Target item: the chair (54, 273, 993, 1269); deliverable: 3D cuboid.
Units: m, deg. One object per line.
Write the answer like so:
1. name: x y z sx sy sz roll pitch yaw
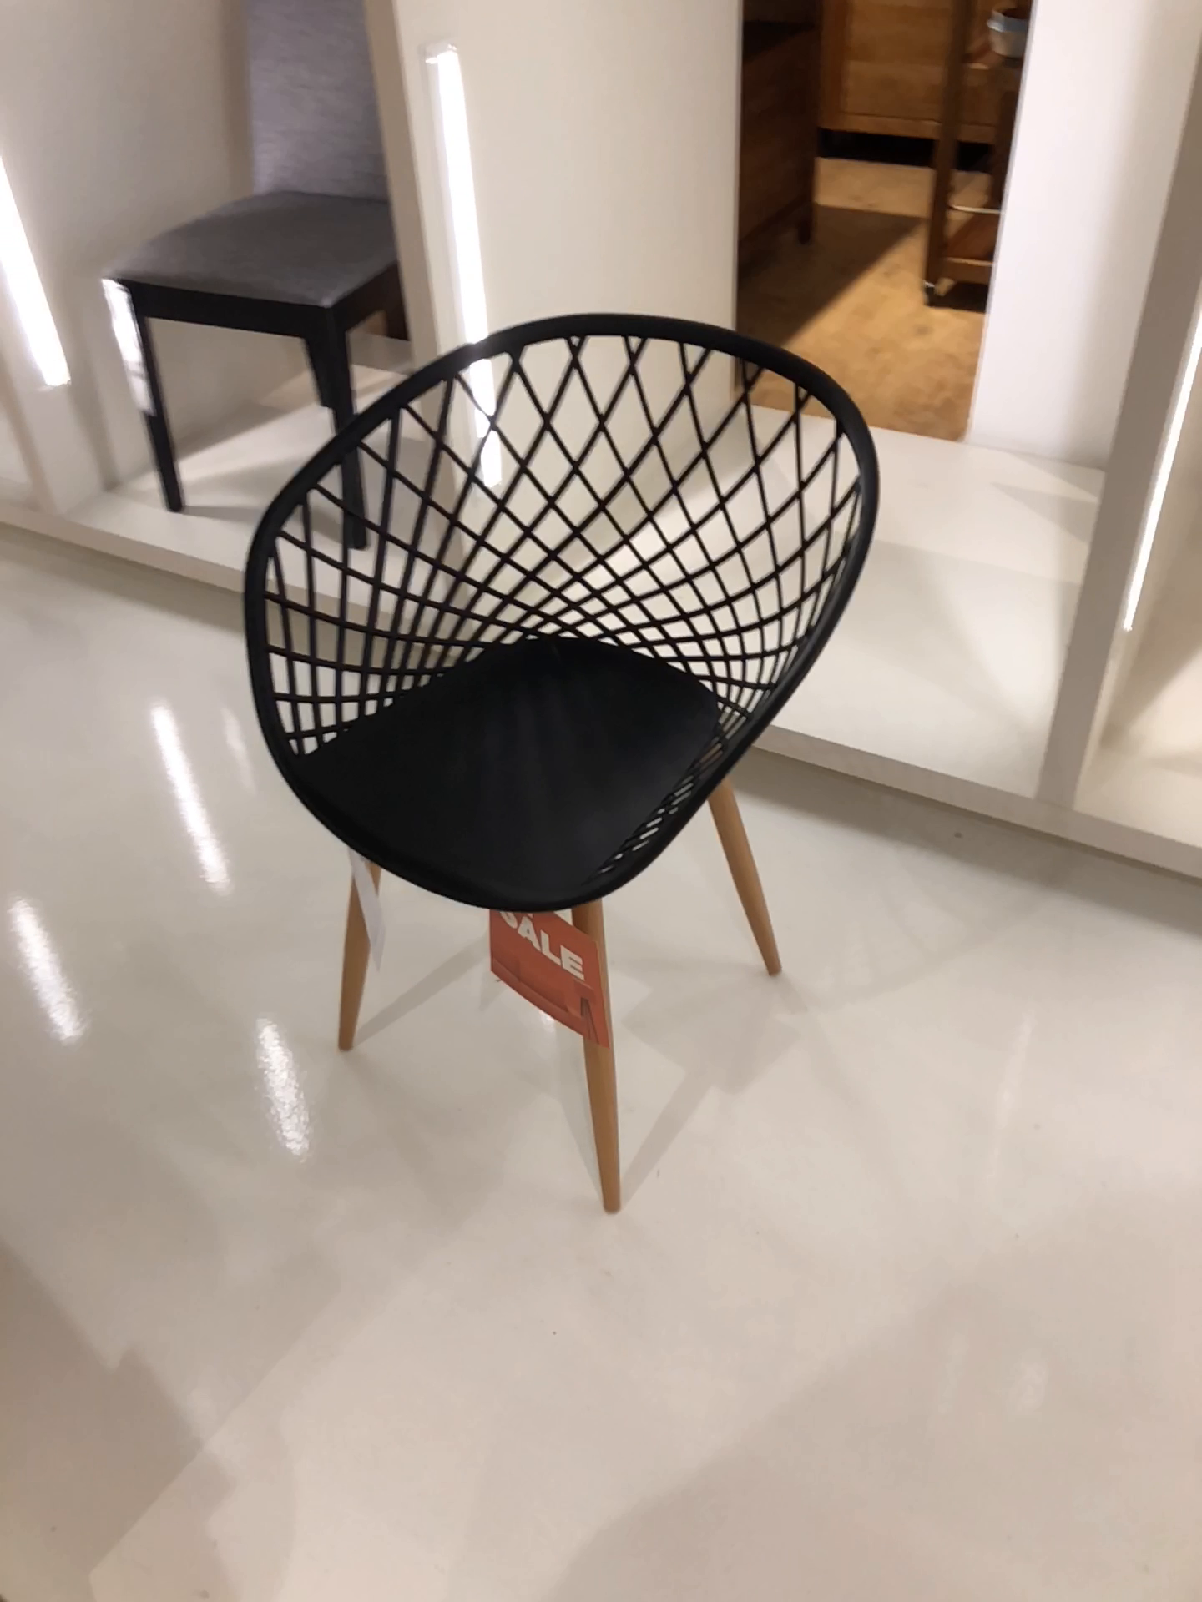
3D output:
1. chair: -0.041 -0.072 1.427 0.621 0.704 0.603 23 47 28
